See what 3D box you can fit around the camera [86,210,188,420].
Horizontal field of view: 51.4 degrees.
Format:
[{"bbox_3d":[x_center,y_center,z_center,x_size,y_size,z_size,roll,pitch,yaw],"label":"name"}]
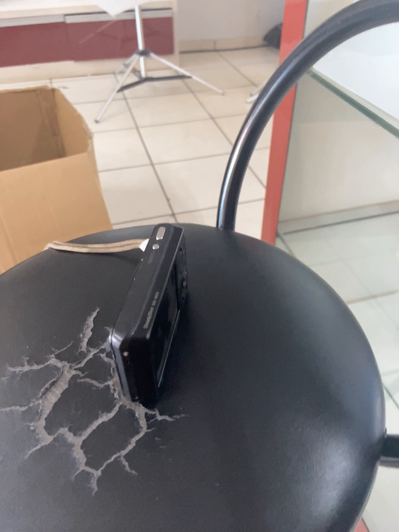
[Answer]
[{"bbox_3d":[-0.028,0.021,0.233,0.020,0.050,0.111,6,41,9],"label":"camera"}]
